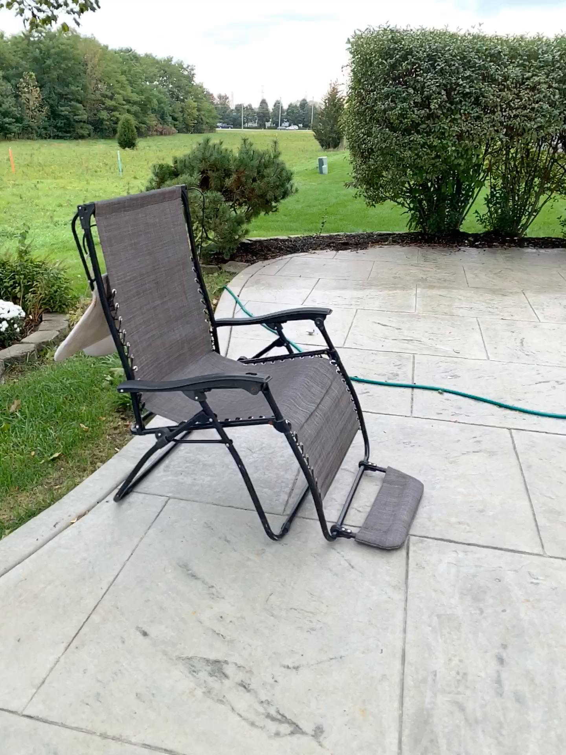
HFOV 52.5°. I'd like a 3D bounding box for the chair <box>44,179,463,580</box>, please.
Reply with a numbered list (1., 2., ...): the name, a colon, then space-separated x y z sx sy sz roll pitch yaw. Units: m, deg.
1. chair: -0.046 -0.093 2.036 1.144 1.057 0.747 8 24 17
